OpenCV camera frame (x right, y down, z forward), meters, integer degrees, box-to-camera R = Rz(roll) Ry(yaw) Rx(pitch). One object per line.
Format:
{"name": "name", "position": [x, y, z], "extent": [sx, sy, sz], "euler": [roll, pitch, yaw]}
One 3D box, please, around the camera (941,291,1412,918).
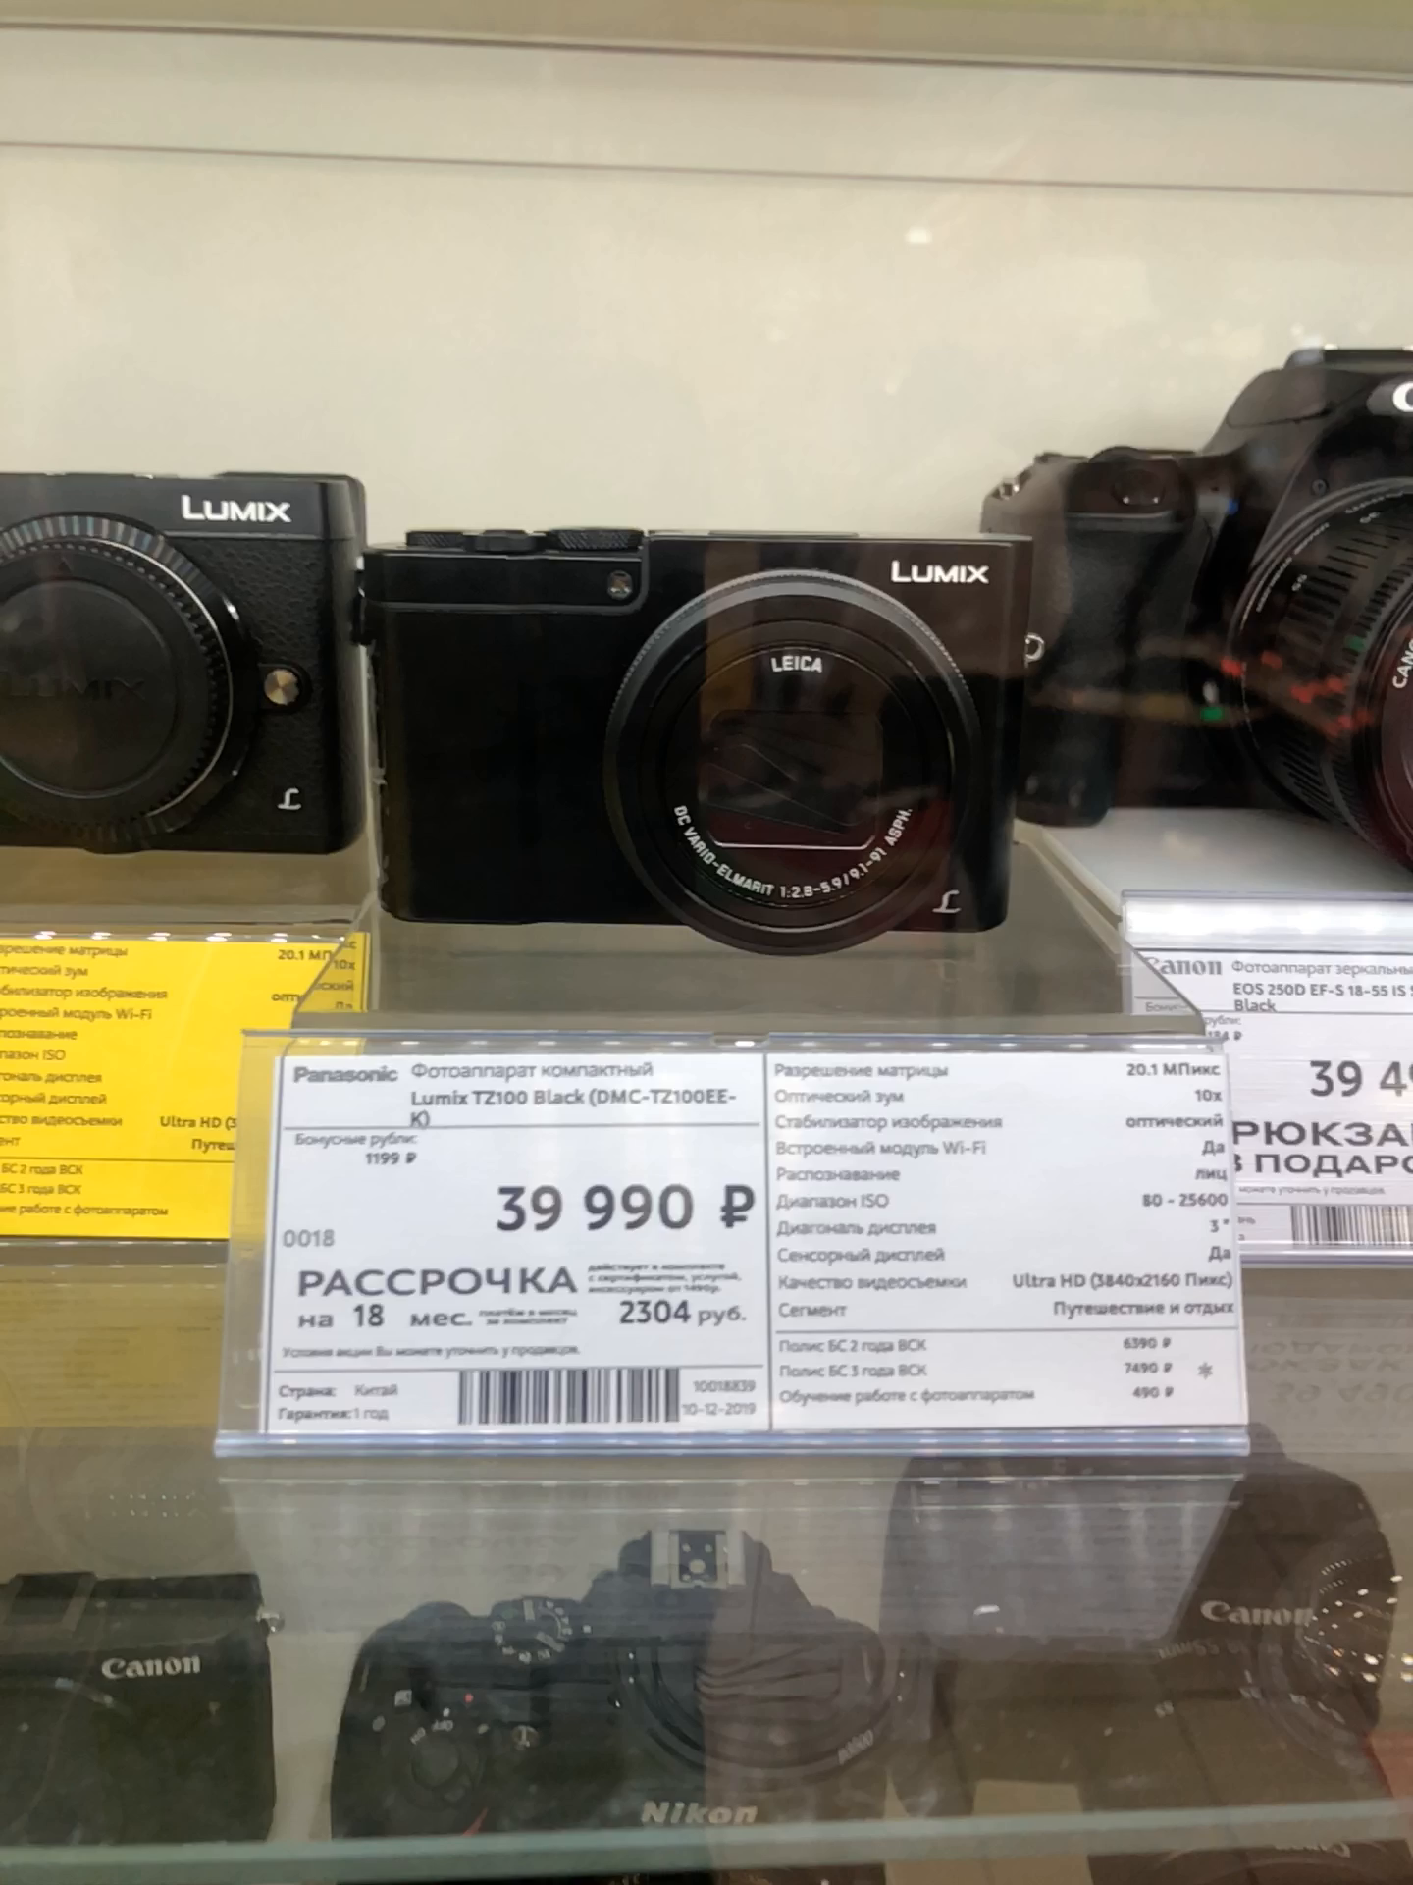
{"name": "camera", "position": [0.145, -0.079, 0.338], "extent": [0.157, 0.099, 0.164], "euler": [1, 19, -2]}

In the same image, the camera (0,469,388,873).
{"name": "camera", "position": [-0.121, -0.054, 0.303], "extent": [0.108, 0.068, 0.055], "euler": [1, 16, -2]}

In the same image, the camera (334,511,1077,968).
{"name": "camera", "position": [-0.001, -0.035, 0.262], "extent": [0.111, 0.068, 0.038], "euler": [1, 16, -2]}
